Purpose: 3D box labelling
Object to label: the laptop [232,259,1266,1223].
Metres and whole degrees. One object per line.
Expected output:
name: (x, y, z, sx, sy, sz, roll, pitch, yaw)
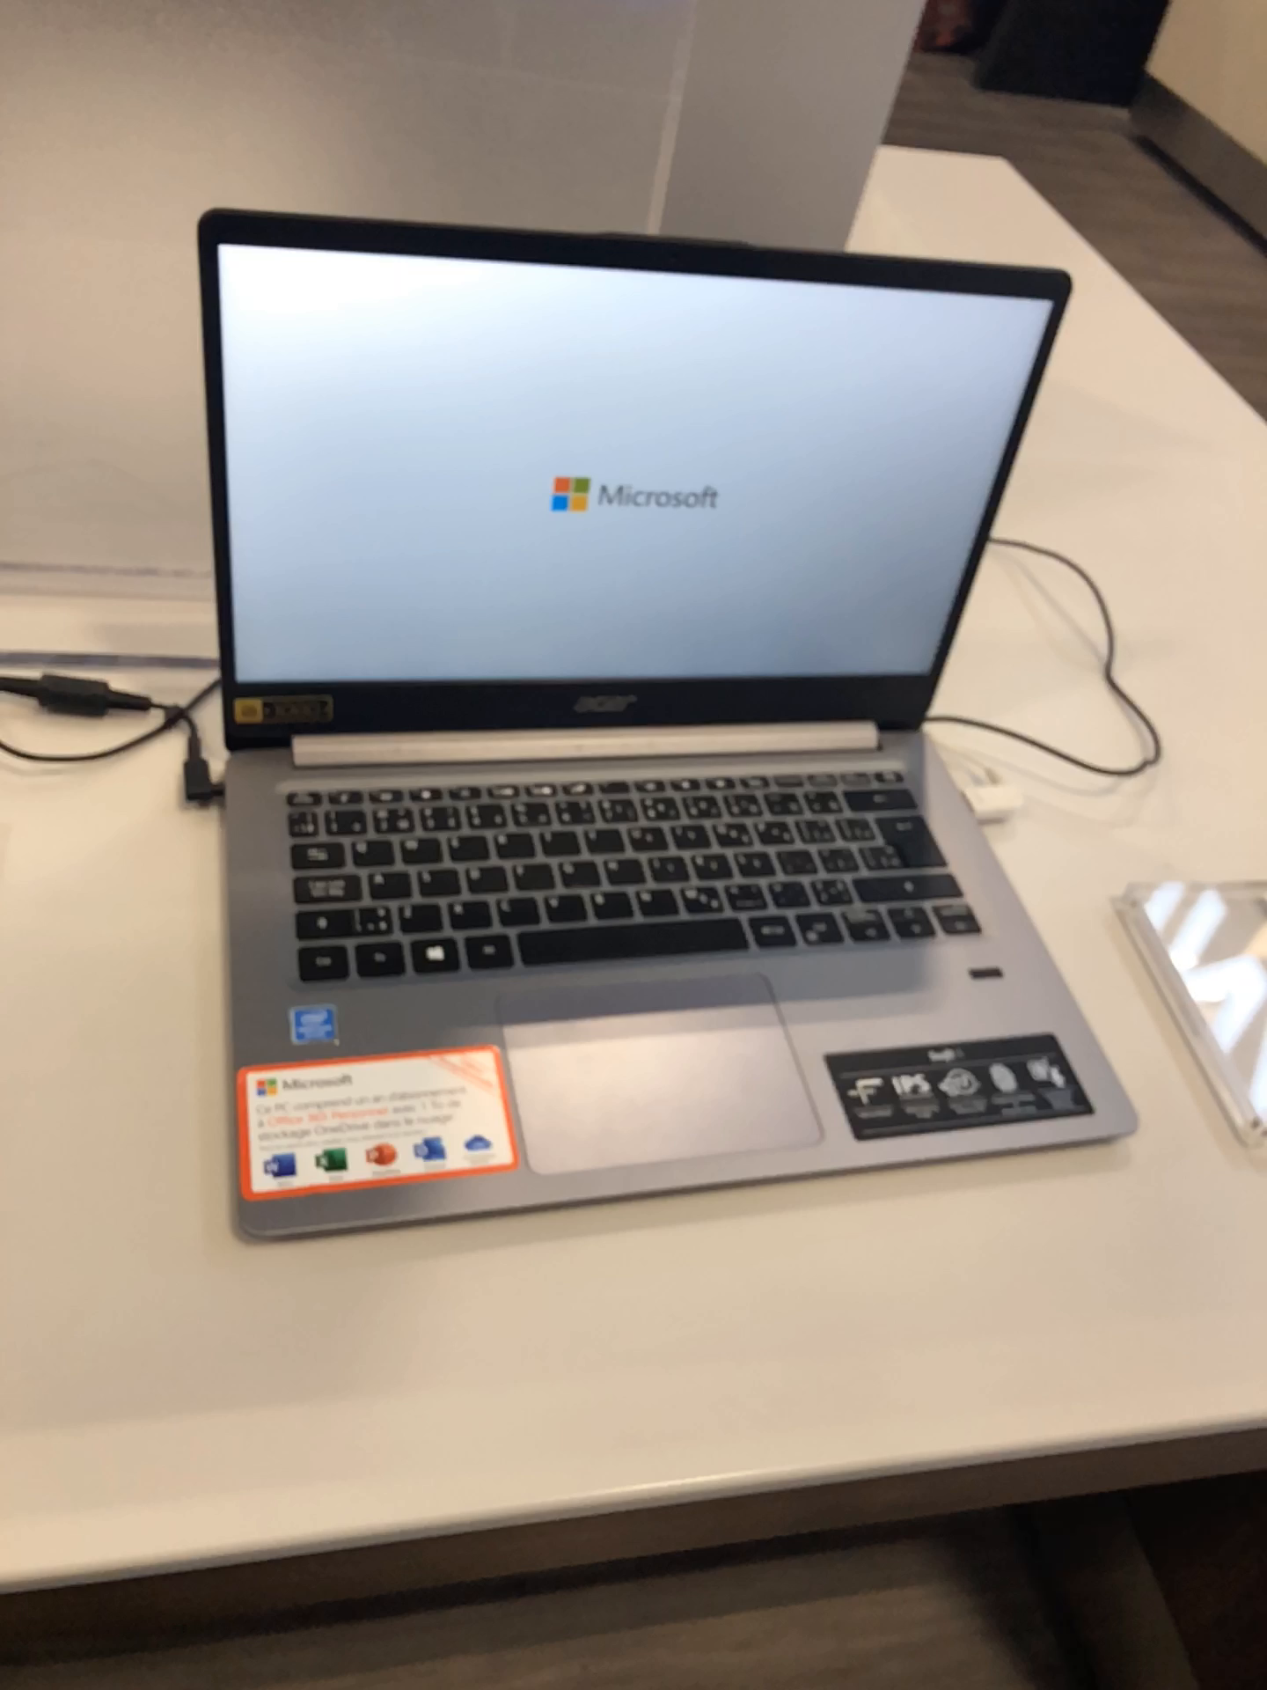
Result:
laptop: (0.026, -0.043, 0.488, 0.306, 0.205, 0.225, -3, 45, -16)
